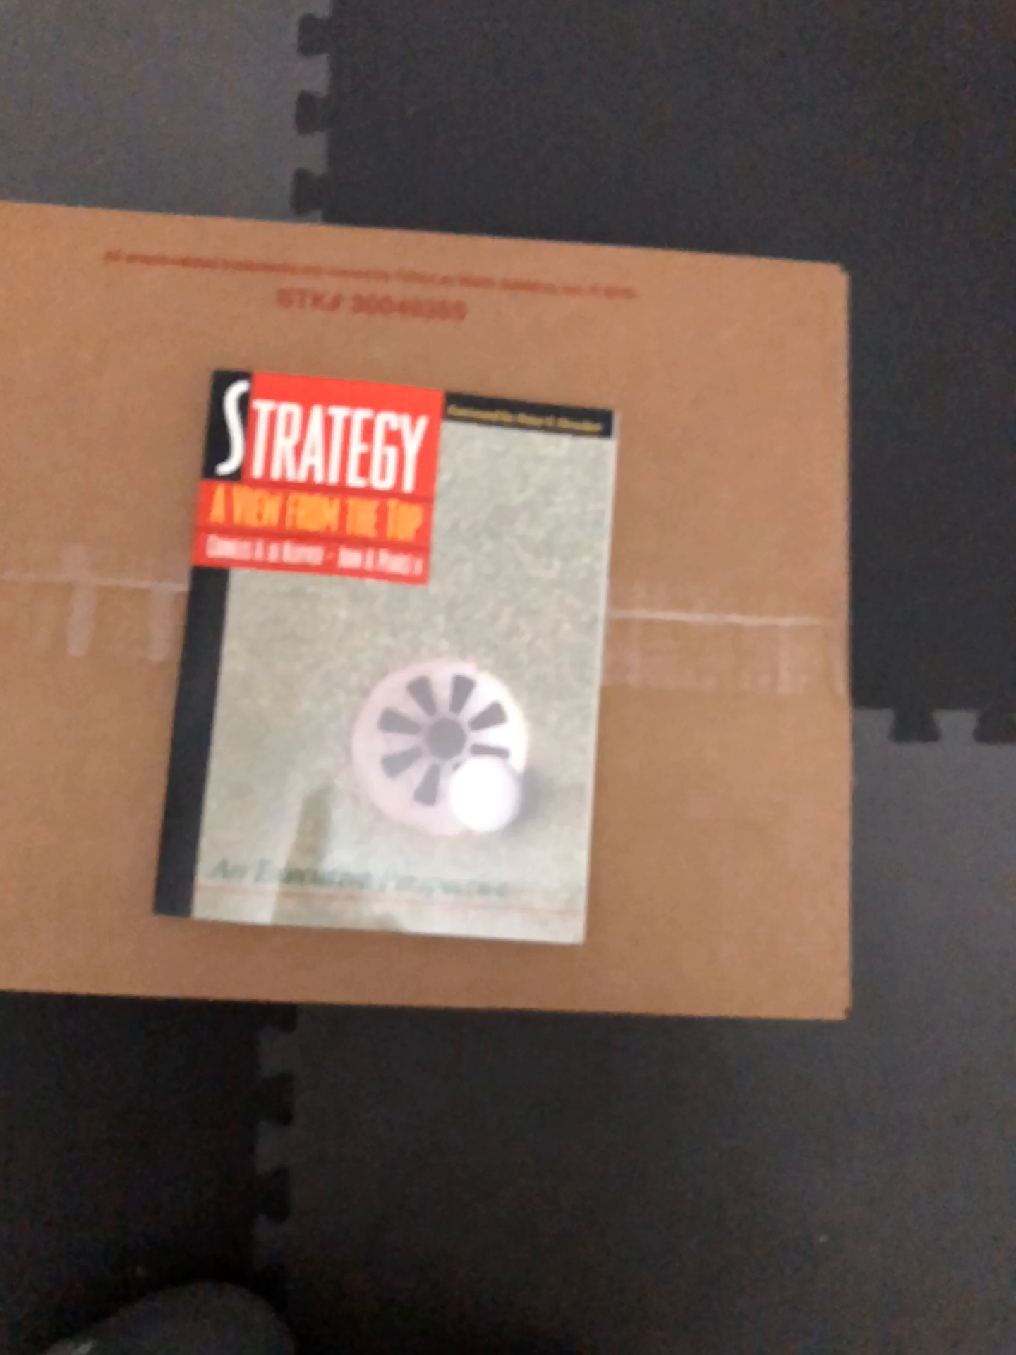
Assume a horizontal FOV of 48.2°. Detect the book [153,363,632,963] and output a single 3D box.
[{"bbox_3d":[-0.045,-0.008,0.489,0.180,0.020,0.240,5,83,-3],"label":"book"}]
